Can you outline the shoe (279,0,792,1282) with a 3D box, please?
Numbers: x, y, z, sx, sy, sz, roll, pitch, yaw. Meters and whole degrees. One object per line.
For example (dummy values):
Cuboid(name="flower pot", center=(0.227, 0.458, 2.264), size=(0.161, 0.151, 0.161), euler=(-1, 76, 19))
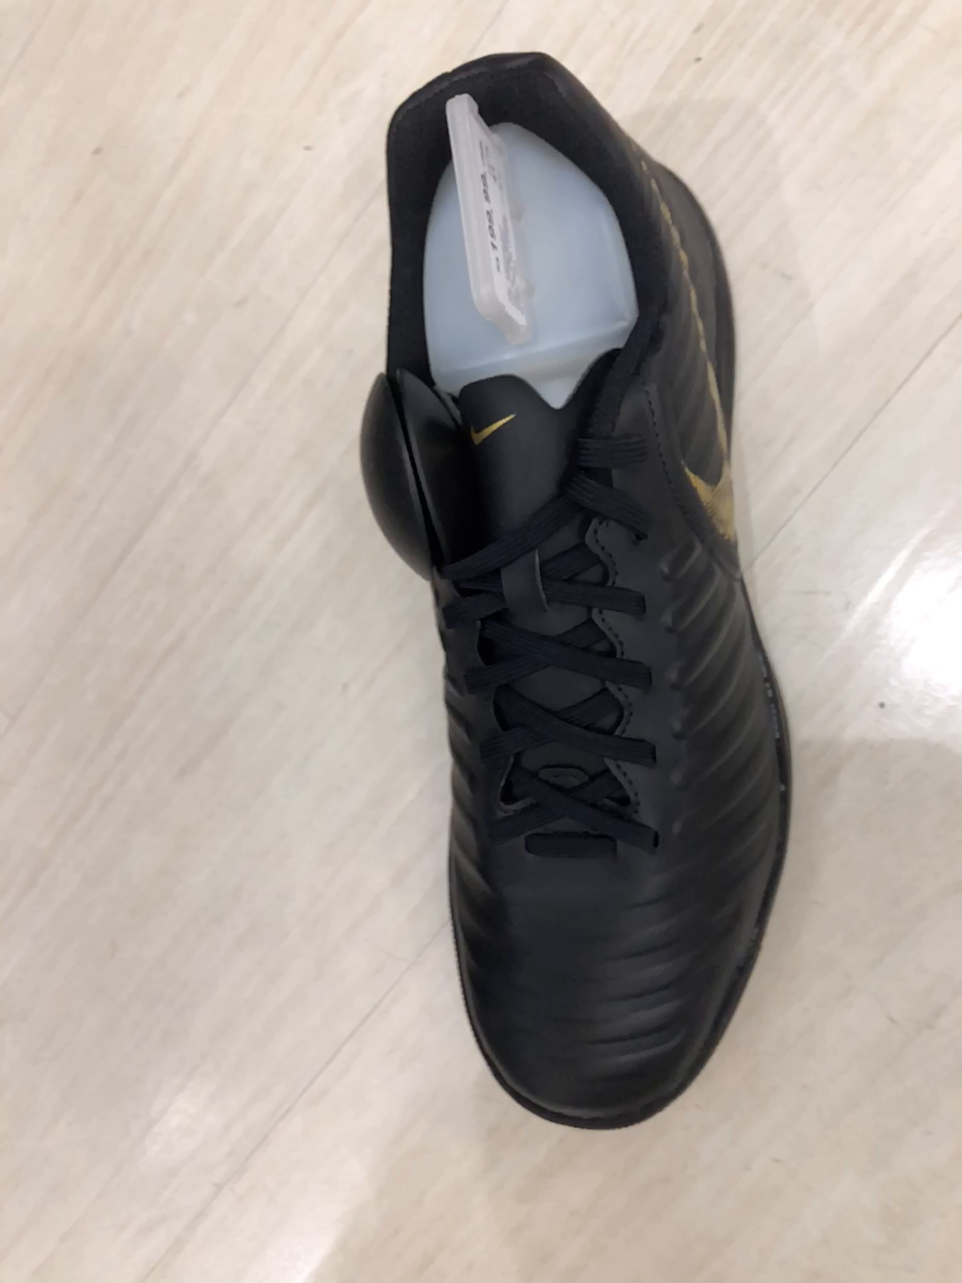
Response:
Cuboid(name="shoe", center=(0.020, -0.006, 0.288), size=(0.100, 0.110, 0.290), euler=(-3, 86, 23))
